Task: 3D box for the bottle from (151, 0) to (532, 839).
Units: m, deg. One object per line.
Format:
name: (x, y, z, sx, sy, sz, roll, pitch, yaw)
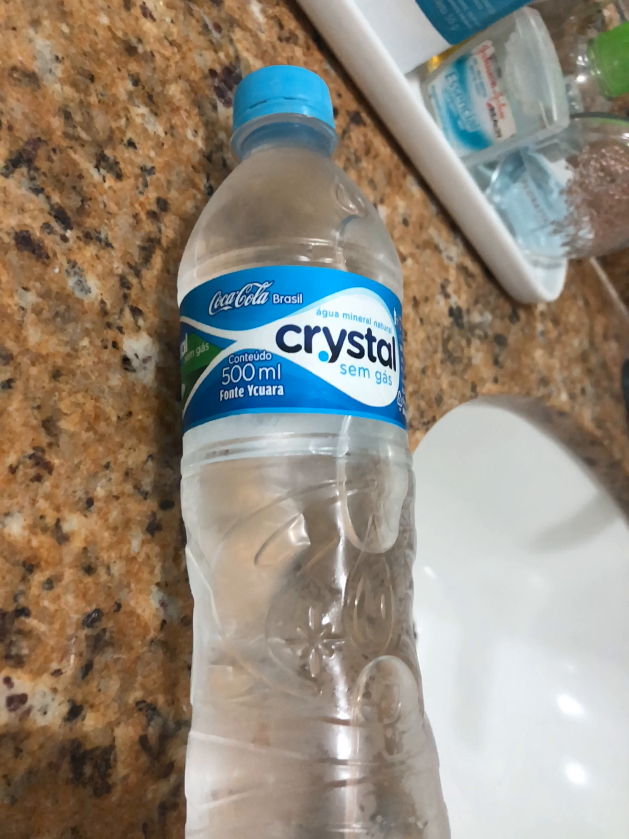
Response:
bottle: (0.003, 0.003, 0.183, 0.070, 0.050, 0.230, 10, 72, -47)
